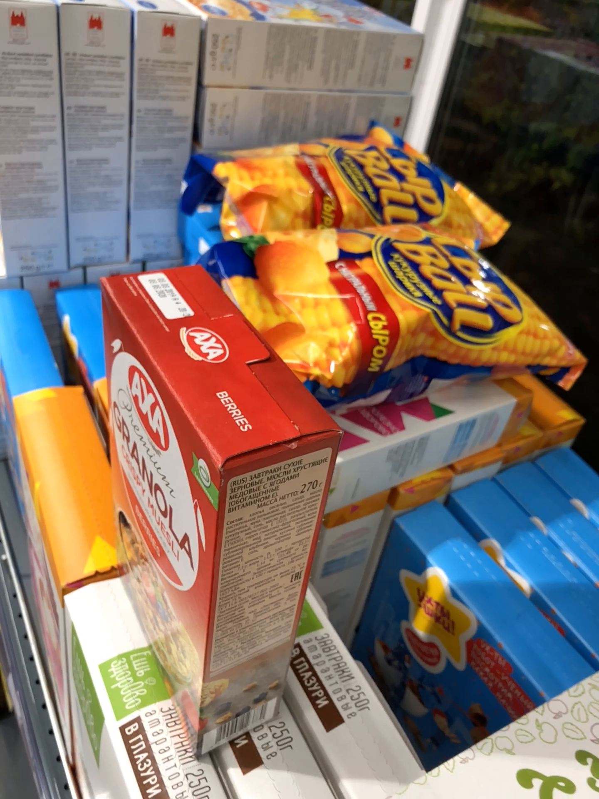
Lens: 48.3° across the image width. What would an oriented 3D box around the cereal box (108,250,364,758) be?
[{"bbox_3d":[-0.046,0.058,0.332,0.050,0.219,0.131,-14,45,-27],"label":"cereal box"}]
